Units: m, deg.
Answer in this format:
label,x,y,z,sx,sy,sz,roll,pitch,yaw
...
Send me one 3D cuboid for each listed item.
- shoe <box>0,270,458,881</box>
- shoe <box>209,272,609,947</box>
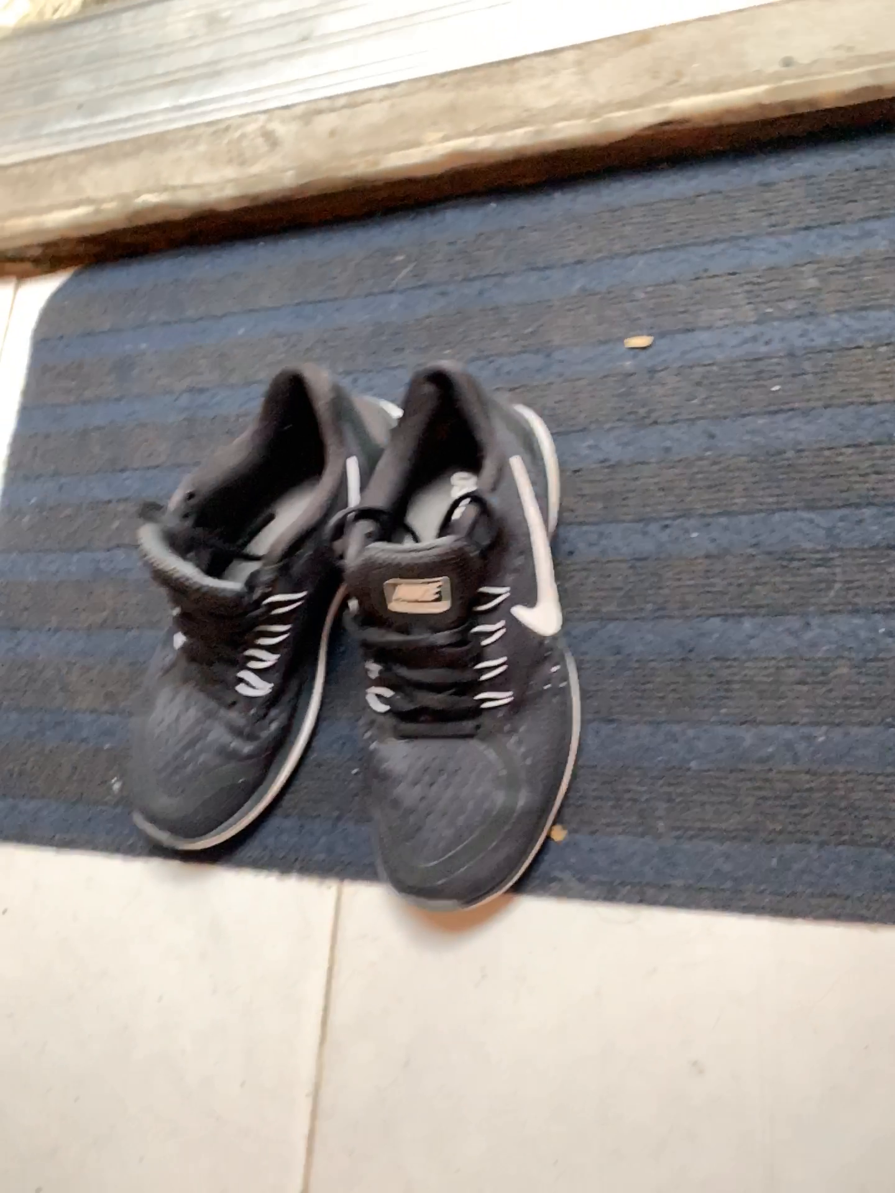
label,x,y,z,sx,sy,sz,roll,pitch,yaw
shoe,-0.110,-0.005,0.440,0.105,0.119,0.248,22,82,24
shoe,-0.002,0.008,0.397,0.107,0.119,0.248,1,74,20
